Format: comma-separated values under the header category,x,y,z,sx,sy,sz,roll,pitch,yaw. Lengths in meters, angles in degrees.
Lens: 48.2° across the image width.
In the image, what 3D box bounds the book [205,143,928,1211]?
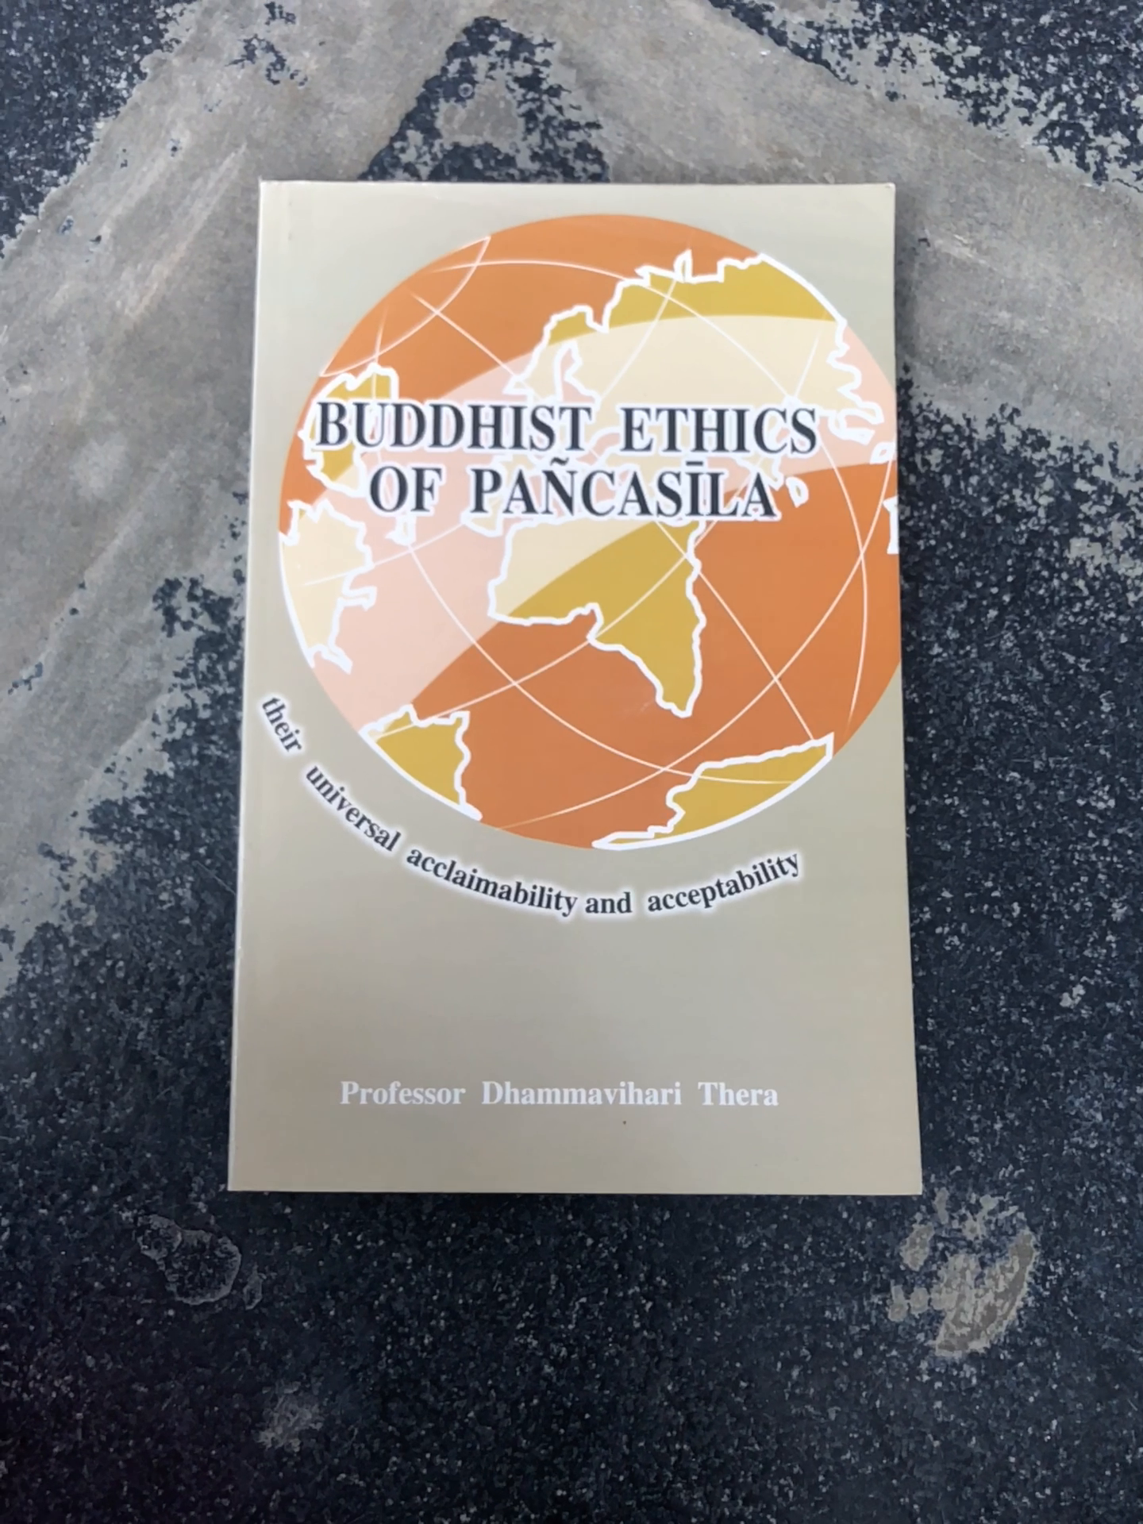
category,x,y,z,sx,sy,sz,roll,pitch,yaw
book,-0.002,-0.023,0.267,0.140,0.010,0.220,0,82,-2
